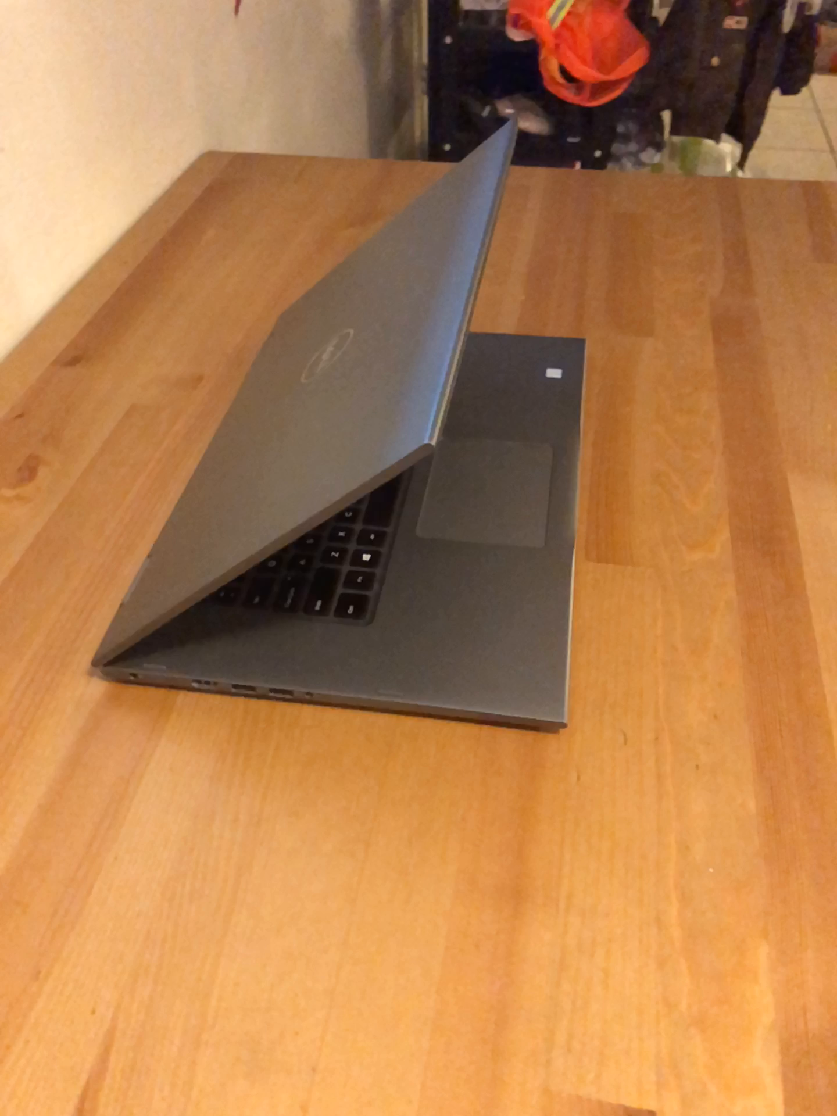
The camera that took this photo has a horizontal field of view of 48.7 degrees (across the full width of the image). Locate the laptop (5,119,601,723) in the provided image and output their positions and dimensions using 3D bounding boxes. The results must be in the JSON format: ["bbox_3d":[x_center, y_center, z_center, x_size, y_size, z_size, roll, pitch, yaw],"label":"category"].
[{"bbox_3d":[-0.025,-0.116,0.572,0.246,0.165,0.377,6,44,8],"label":"laptop"}]
